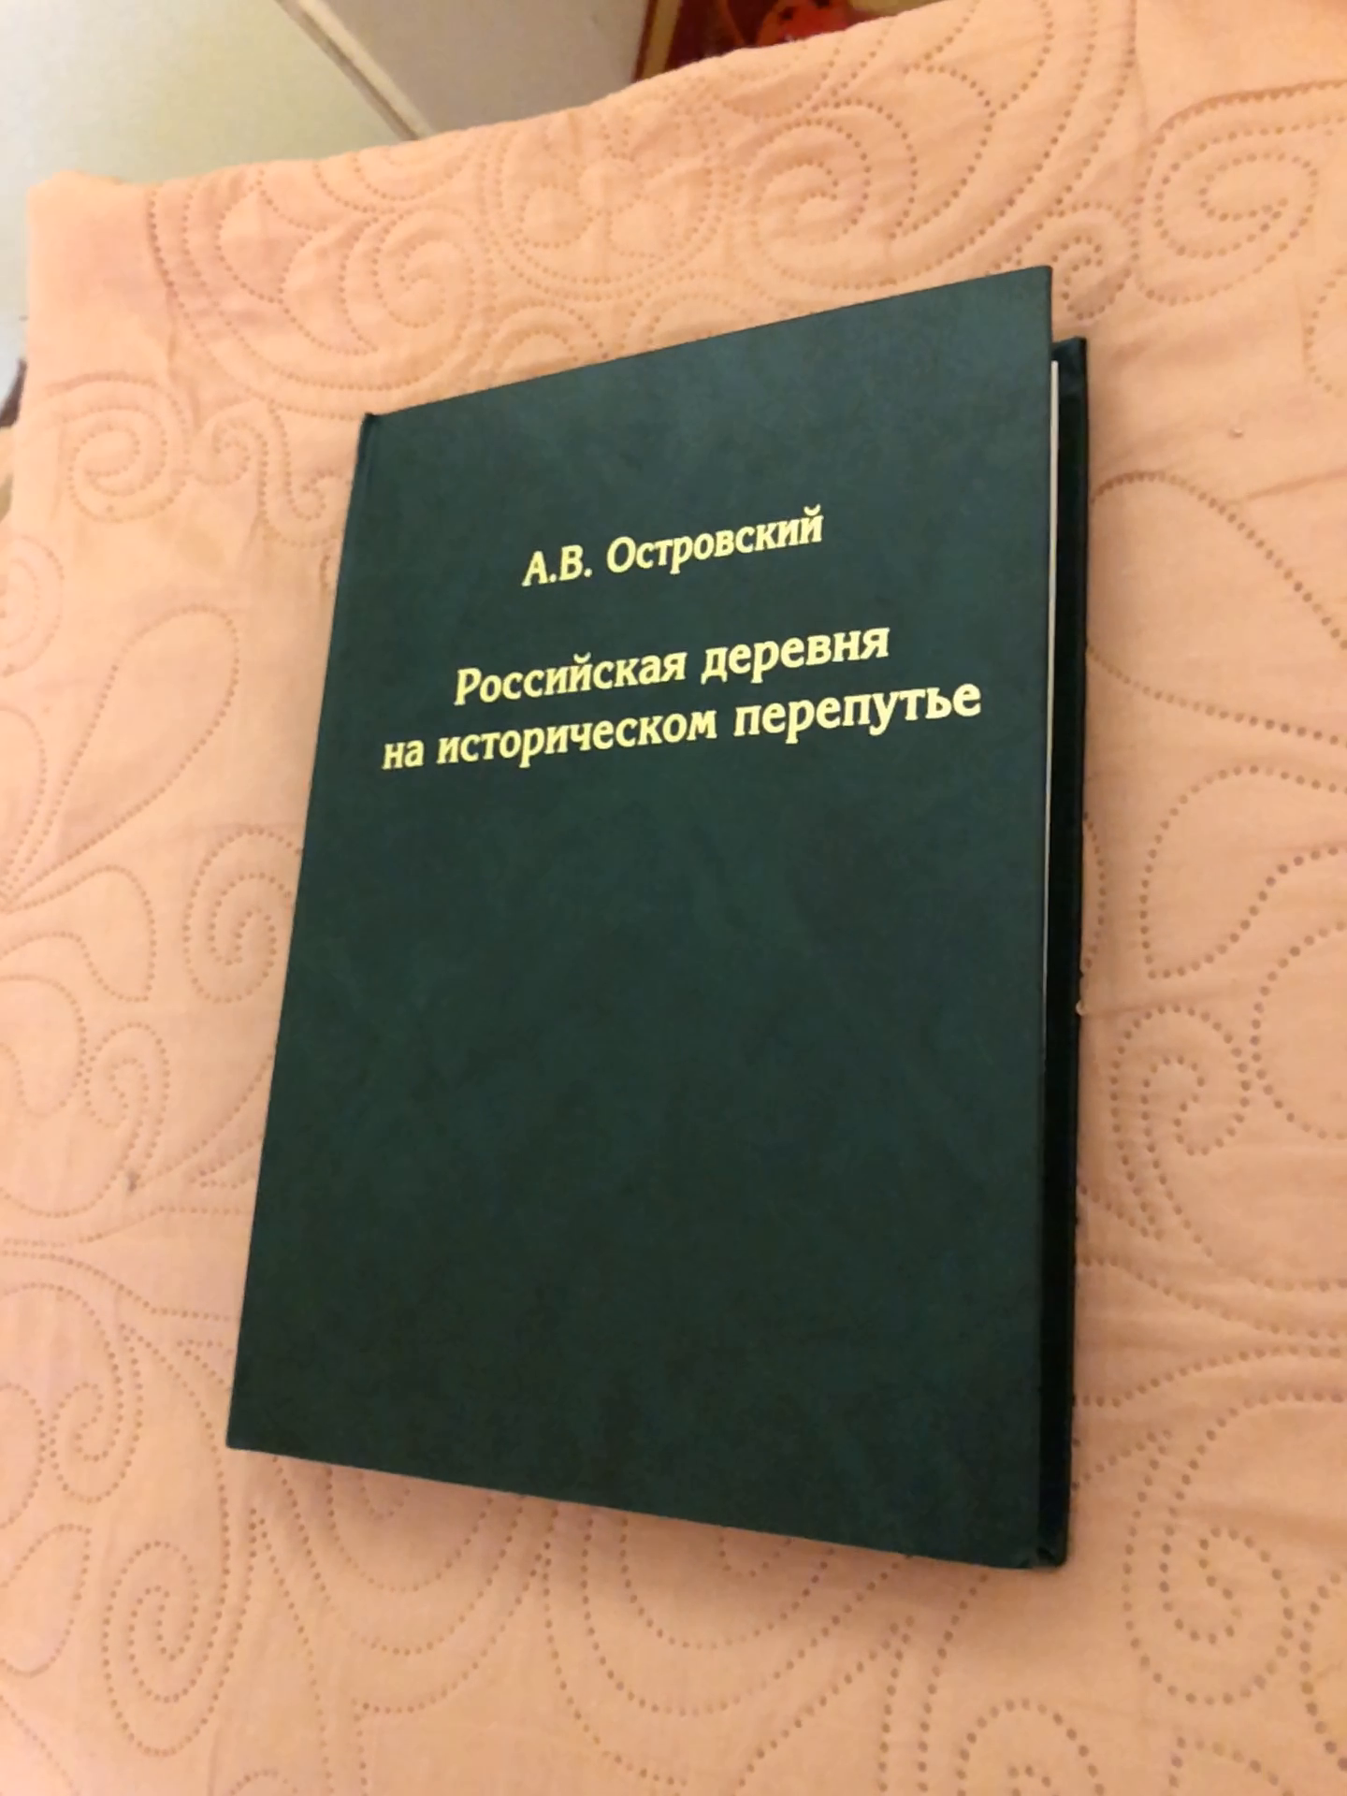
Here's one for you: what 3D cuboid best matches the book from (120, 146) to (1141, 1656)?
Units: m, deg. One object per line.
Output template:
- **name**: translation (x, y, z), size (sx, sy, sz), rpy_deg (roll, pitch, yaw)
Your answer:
- **book**: translation (-0.007, -0.005, 0.287), size (0.180, 0.040, 0.240), rpy_deg (-3, 74, 27)
